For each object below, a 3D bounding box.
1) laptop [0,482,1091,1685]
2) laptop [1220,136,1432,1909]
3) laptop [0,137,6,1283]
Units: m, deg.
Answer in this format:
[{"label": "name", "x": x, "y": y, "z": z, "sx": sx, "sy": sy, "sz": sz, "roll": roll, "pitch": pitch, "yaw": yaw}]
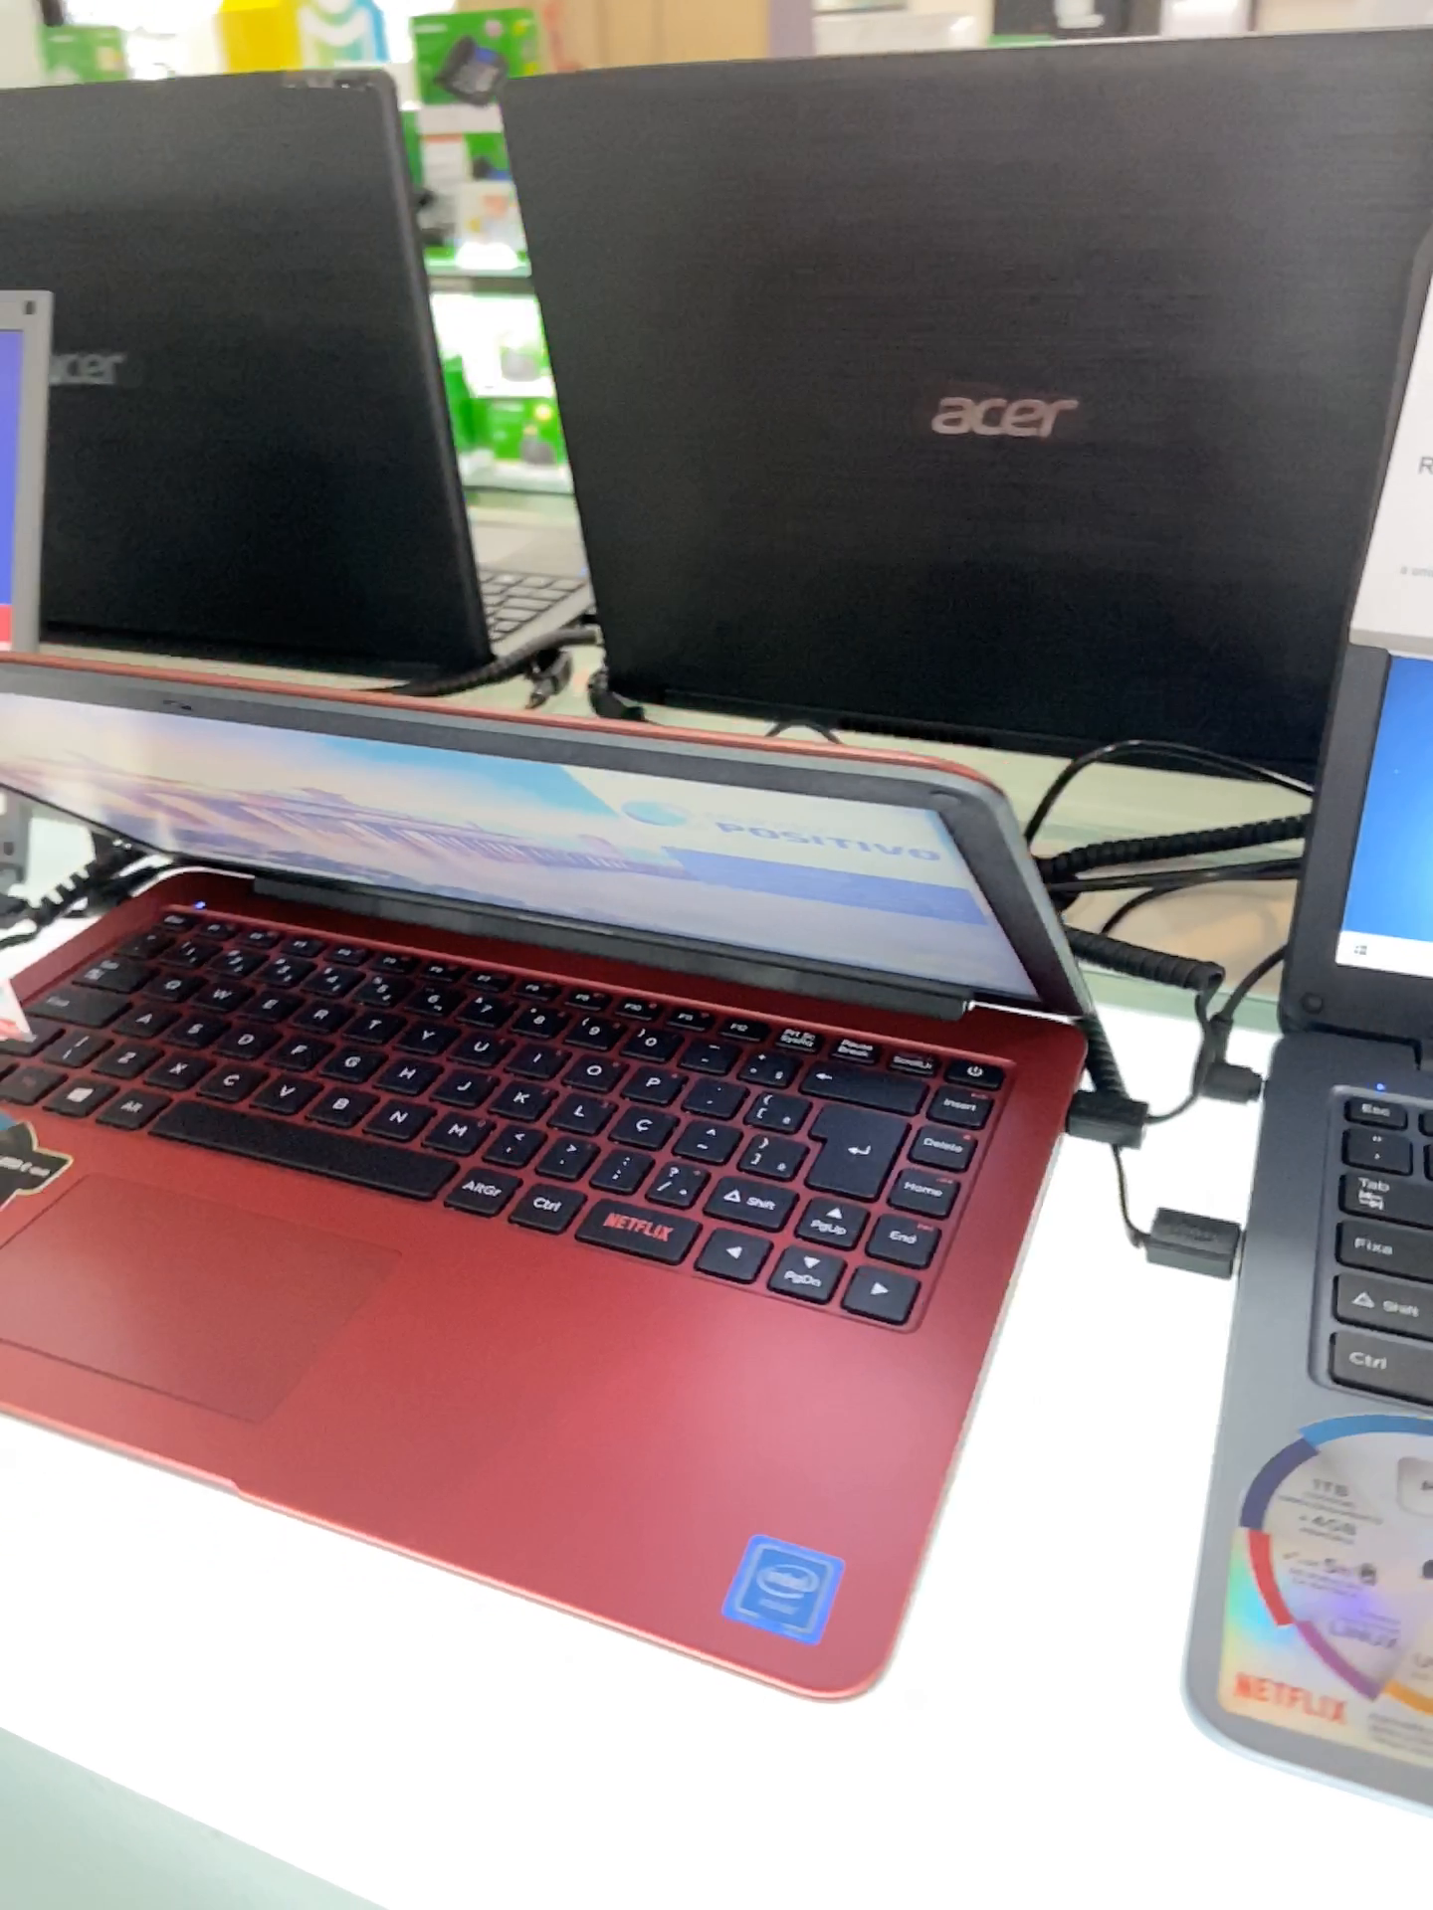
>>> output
[{"label": "laptop", "x": -0.092, "y": -0.012, "z": 0.362, "sx": 0.320, "sy": 0.144, "sz": 0.213, "roll": 9, "pitch": 32, "yaw": 21}, {"label": "laptop", "x": 0.302, "y": 0.003, "z": 0.238, "sx": 0.384, "sy": 0.207, "sz": 0.278, "roll": 9, "pitch": 34, "yaw": 17}, {"label": "laptop", "x": -0.416, "y": -0.117, "z": 0.470, "sx": 0.234, "sy": 0.159, "sz": 0.287, "roll": 14, "pitch": 34, "yaw": 6}]
